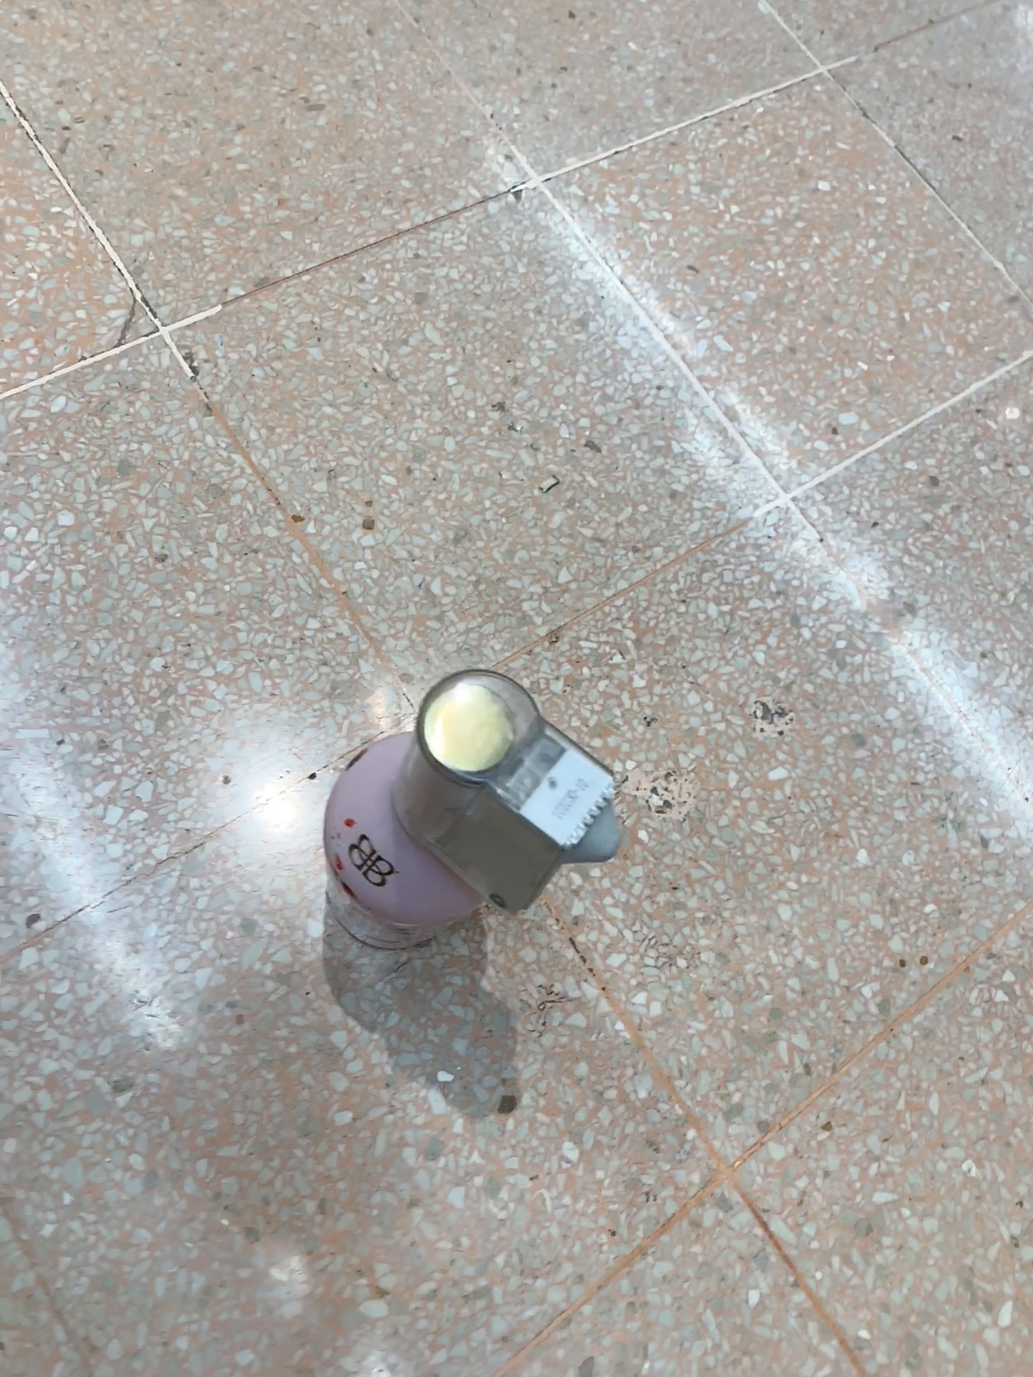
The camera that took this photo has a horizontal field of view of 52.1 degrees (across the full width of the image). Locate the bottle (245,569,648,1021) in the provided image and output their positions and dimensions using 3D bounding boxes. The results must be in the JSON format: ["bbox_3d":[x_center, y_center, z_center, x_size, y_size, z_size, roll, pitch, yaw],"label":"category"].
[{"bbox_3d":[-0.044,0.065,0.437,0.073,0.255,0.103,-38,81,-21],"label":"bottle"}]
